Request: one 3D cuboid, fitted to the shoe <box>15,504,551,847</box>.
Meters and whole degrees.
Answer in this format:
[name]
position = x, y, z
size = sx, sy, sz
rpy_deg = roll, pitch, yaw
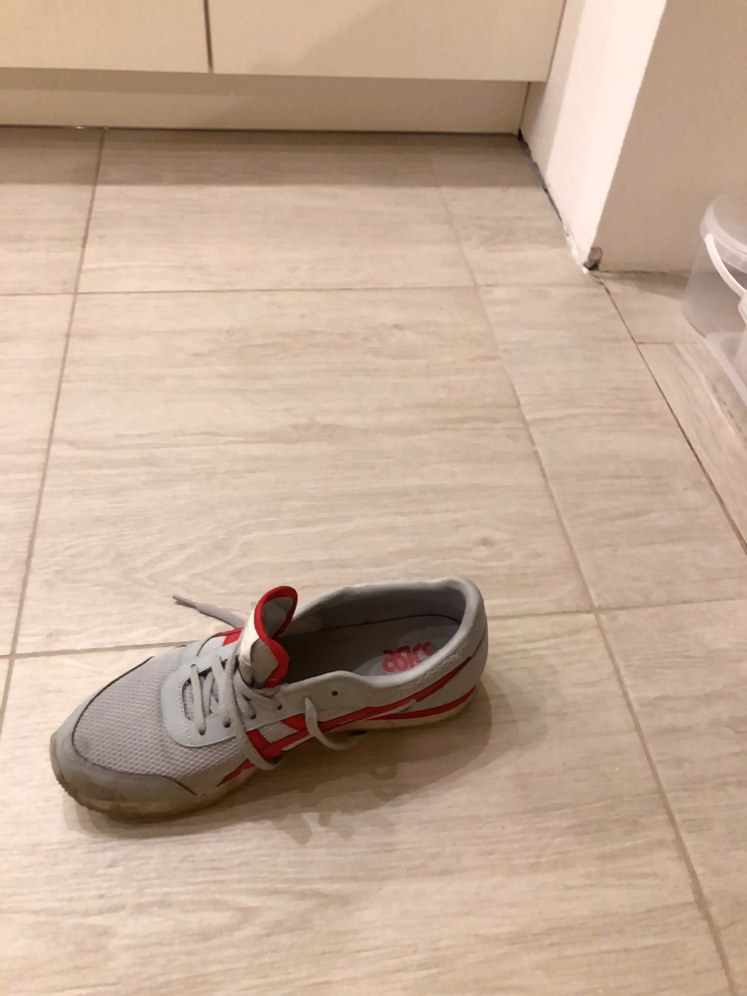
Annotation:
[shoe]
position = -0.057, 0.111, 0.531
size = 0.298, 0.129, 0.111
rpy_deg = -9, 50, -13
